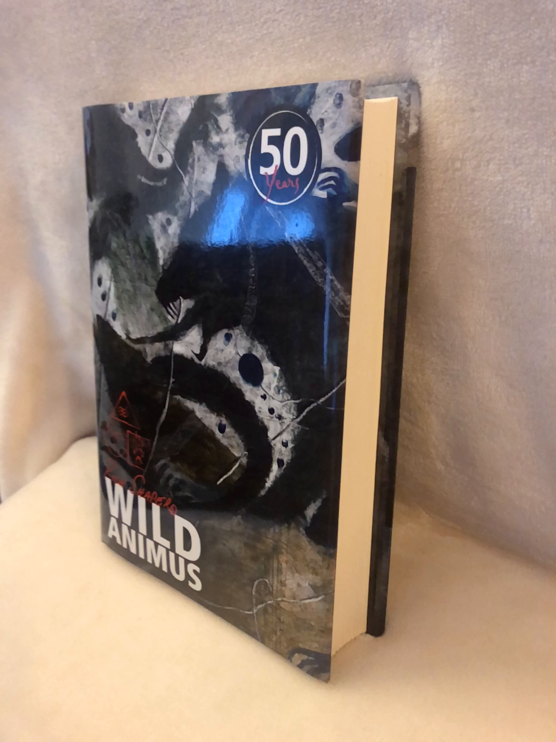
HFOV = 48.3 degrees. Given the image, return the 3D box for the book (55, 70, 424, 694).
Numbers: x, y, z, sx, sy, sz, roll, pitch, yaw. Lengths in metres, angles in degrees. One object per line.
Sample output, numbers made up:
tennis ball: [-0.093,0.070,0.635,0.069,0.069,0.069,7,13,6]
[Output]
book: [-0.029,-0.002,0.275,0.163,0.216,0.043,14,18,38]
